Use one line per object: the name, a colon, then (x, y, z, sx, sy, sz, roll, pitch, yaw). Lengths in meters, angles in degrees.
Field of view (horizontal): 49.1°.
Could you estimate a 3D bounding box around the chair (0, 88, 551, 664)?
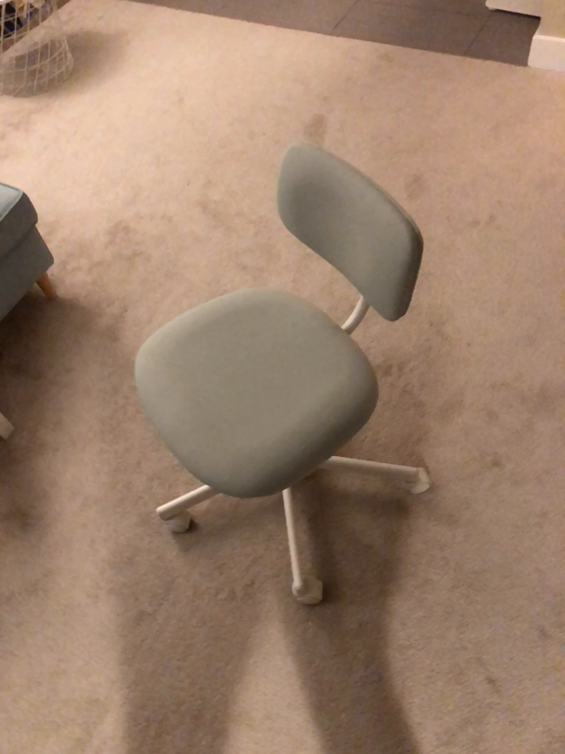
chair: (-0.039, 0.011, 1.219, 0.641, 0.677, 0.662, -30, 56, -12)
